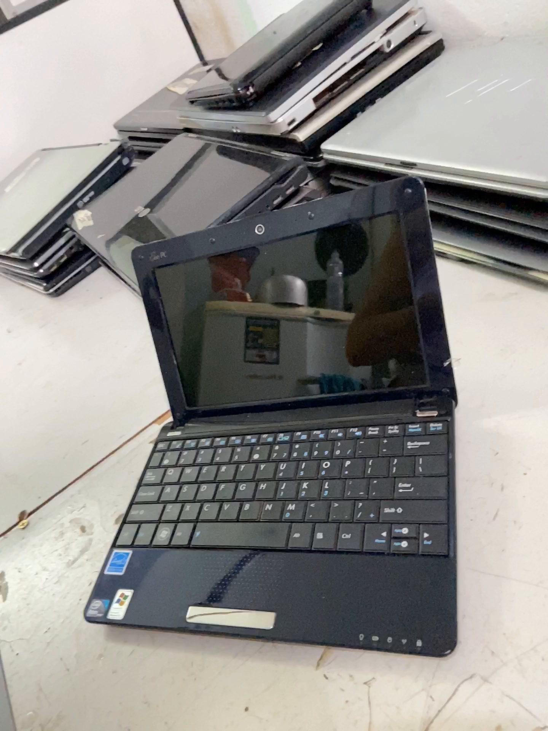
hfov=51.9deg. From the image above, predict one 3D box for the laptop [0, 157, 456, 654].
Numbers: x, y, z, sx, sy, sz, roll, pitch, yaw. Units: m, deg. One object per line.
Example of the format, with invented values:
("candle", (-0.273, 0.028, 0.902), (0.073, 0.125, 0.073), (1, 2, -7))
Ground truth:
("laptop", (-0.018, 0.020, 0.402), (0.260, 0.133, 0.274), (-8, 43, 26))
